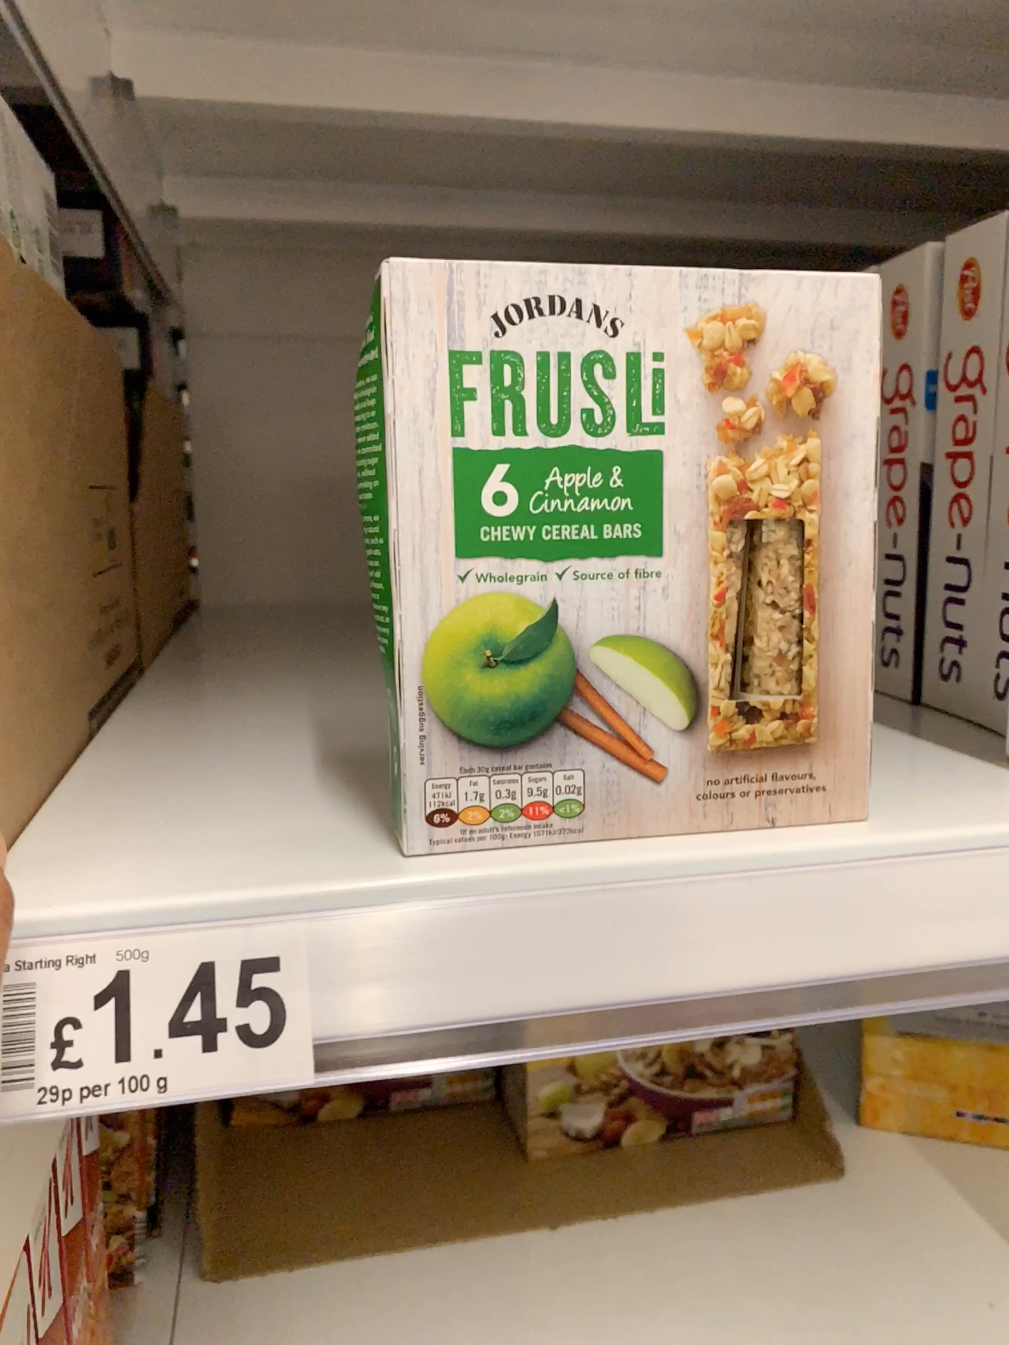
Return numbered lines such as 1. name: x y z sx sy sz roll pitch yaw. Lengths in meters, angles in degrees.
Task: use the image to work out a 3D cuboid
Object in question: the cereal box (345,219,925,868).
1. cereal box: 0.034 -0.036 0.300 0.150 0.159 0.050 -3 9 -13
